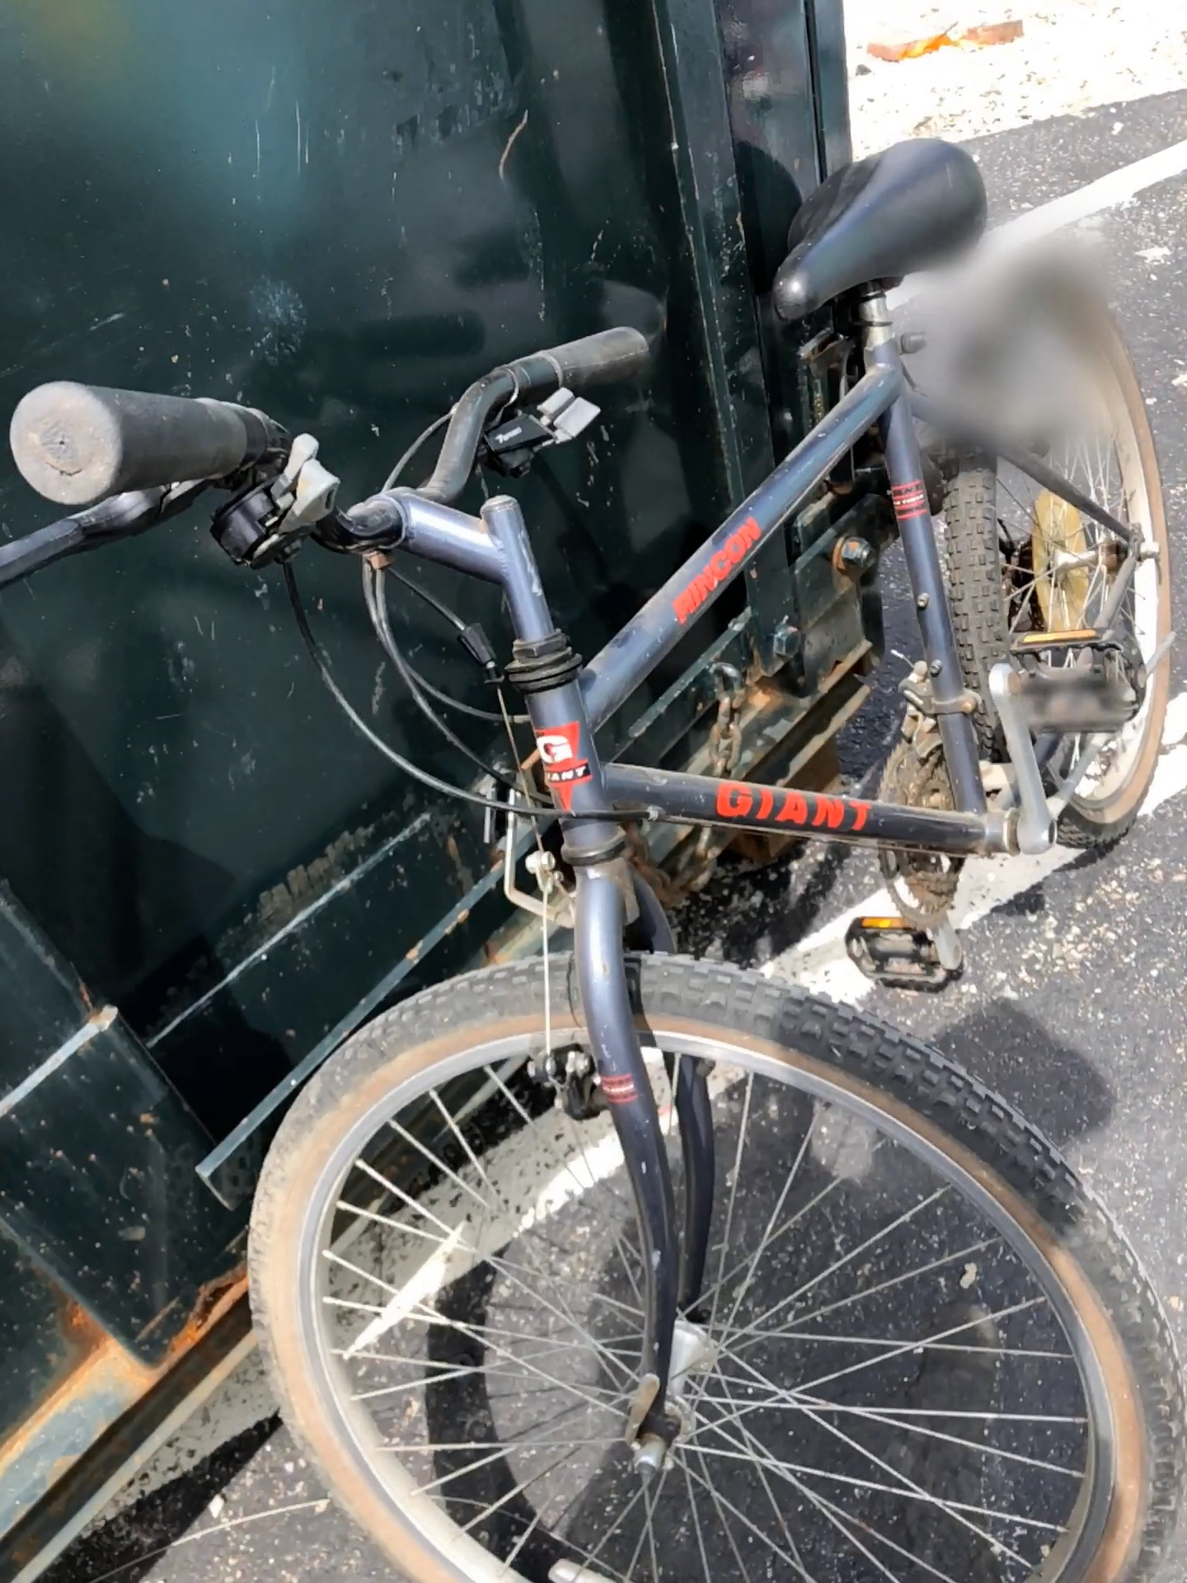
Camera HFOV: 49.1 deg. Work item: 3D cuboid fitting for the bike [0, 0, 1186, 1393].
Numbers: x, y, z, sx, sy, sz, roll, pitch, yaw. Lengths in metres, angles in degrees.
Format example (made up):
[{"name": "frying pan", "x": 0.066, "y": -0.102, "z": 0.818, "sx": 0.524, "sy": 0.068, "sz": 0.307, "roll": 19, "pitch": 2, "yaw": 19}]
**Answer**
[{"name": "bike", "x": -0.064, "y": -0.189, "z": 1.160, "sx": 0.636, "sy": 0.832, "sz": 1.101, "roll": 29, "pitch": 55, "yaw": 35}]
